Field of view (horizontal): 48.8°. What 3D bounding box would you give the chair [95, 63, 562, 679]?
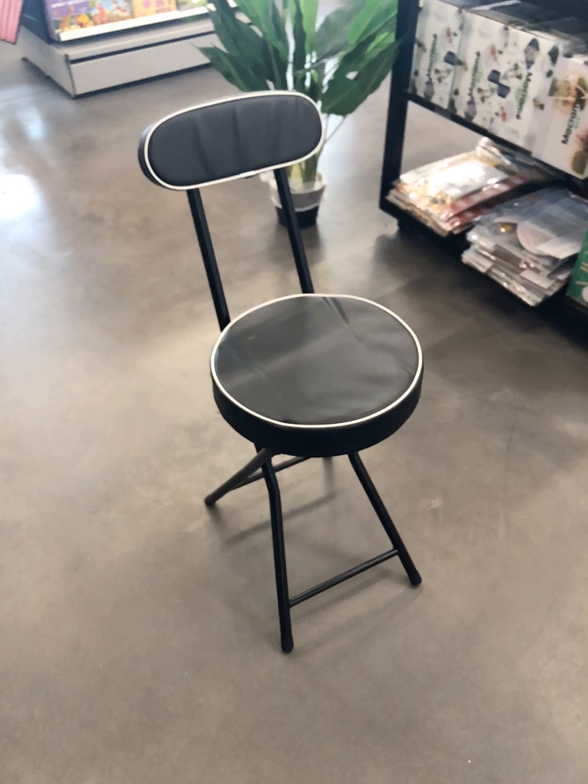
[{"bbox_3d":[0.004,-0.013,1.024,0.341,0.756,0.511,-20,48,-19],"label":"chair"}]
